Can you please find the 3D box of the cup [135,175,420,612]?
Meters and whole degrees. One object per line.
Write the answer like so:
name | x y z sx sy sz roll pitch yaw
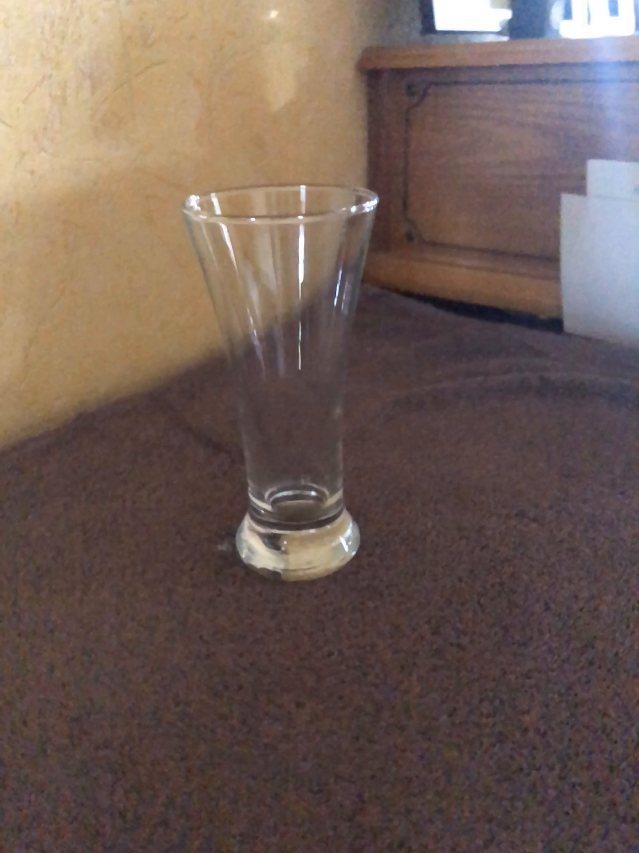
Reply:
cup | -0.008 -0.017 0.288 0.080 0.149 0.081 -1 26 1
